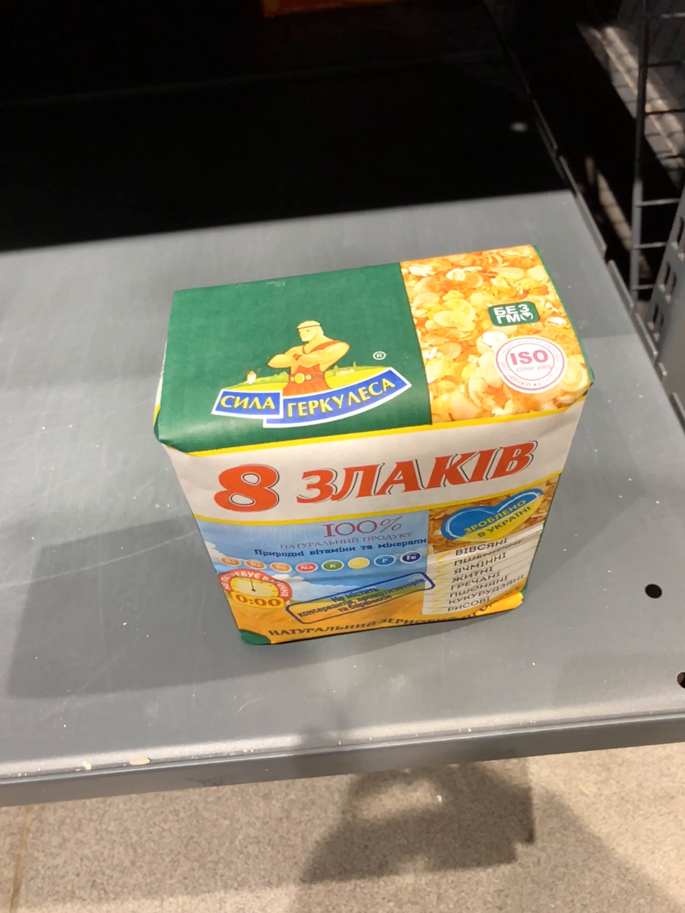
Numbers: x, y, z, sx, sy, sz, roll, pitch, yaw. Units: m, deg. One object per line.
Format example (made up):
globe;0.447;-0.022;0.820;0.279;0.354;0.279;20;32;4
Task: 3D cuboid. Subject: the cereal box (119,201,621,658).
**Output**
cereal box;0.008;-0.001;0.254;0.120;0.129;0.070;-7;50;0
